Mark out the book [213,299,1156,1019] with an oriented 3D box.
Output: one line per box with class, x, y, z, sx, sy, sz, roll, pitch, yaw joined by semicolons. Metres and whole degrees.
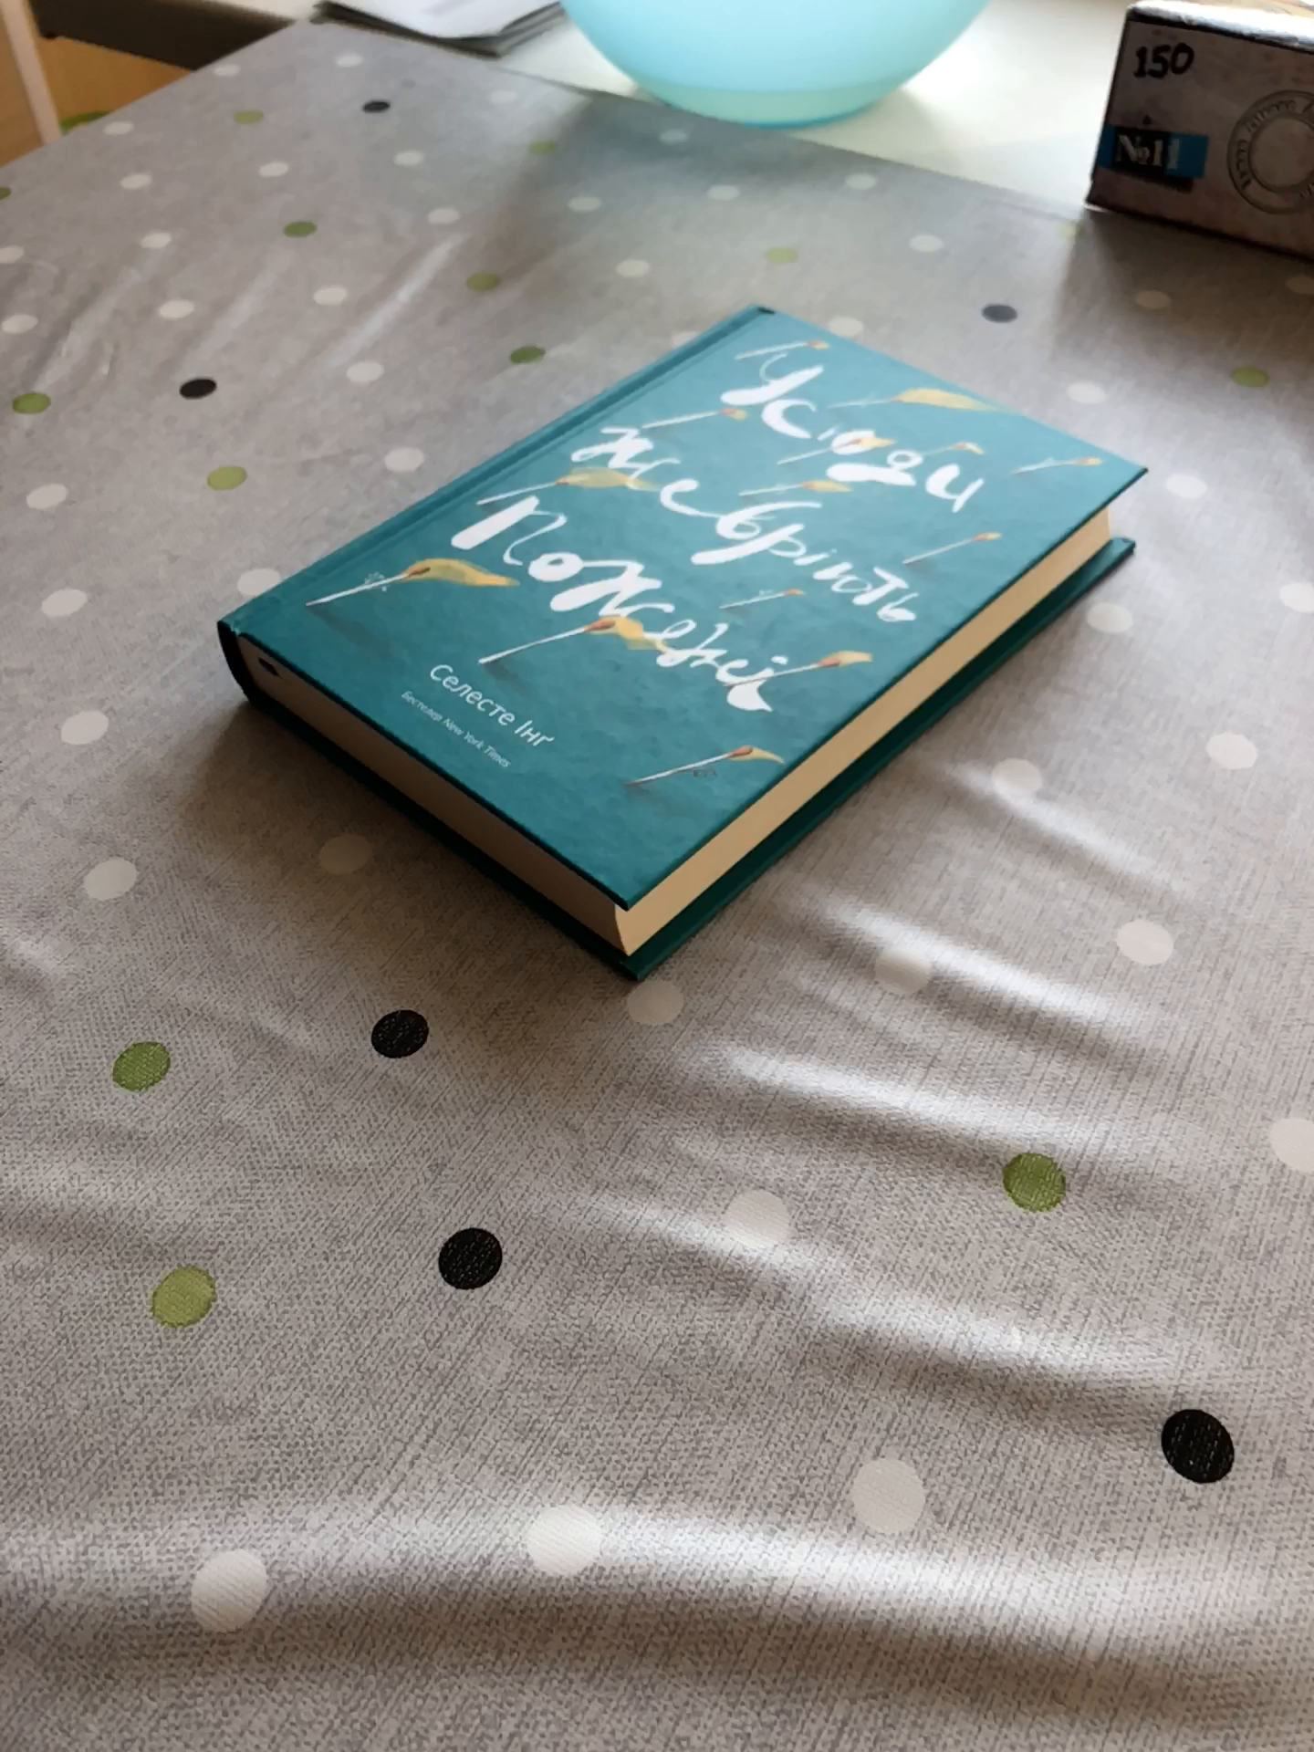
book;0.013;-0.077;0.400;0.144;0.040;0.214;34;58;27
